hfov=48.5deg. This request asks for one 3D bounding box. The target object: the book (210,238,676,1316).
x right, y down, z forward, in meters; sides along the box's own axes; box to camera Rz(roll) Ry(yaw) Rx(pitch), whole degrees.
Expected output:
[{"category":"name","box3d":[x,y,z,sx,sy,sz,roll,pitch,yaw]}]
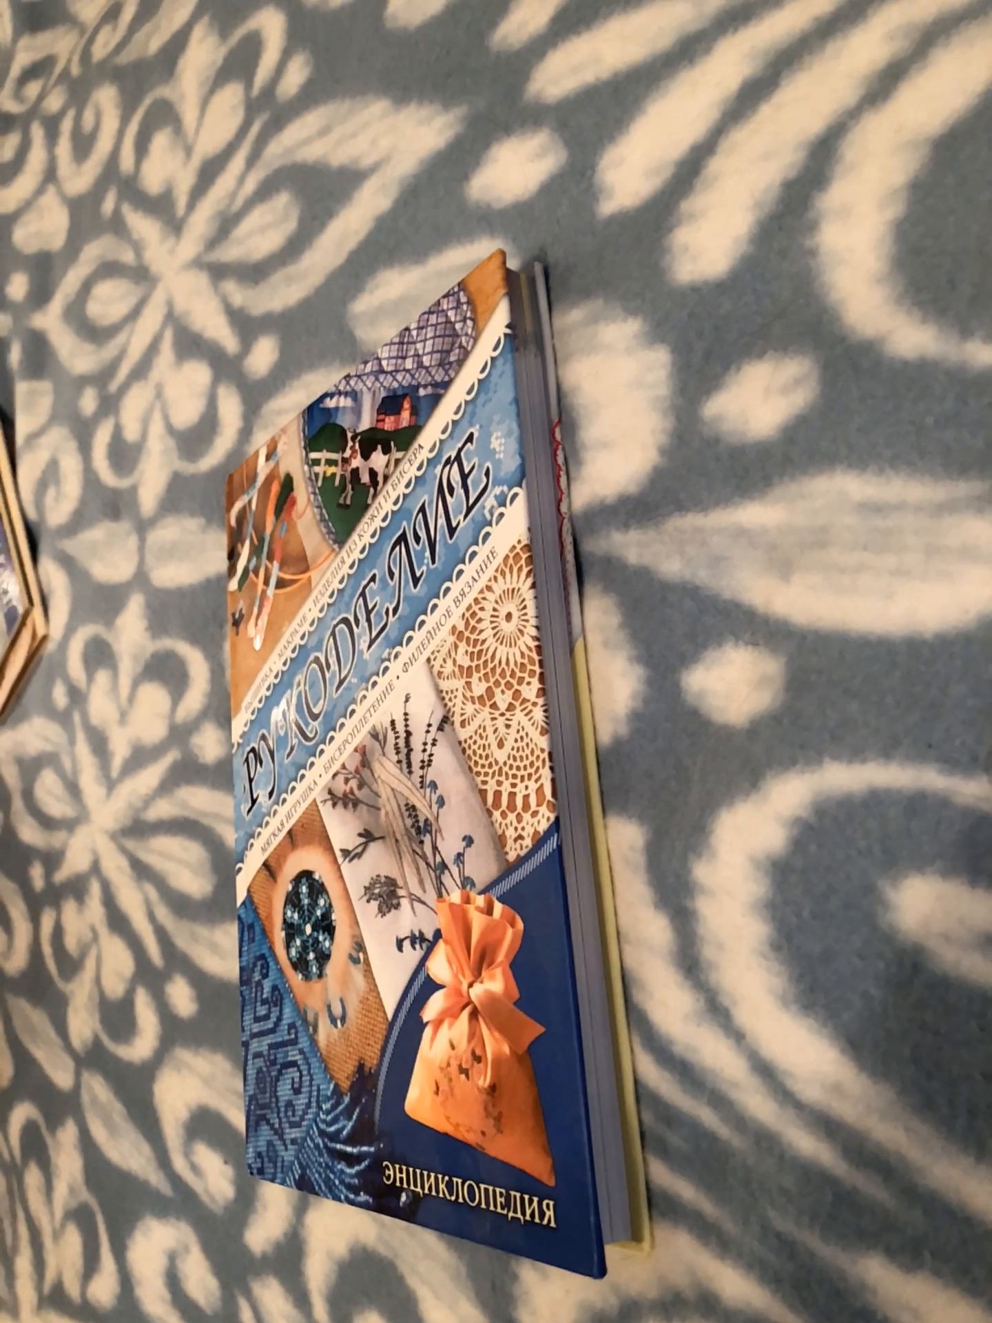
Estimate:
[{"category":"book","box3d":[-0.033,0.032,0.311,0.169,0.020,0.237,-21,69,49]}]
